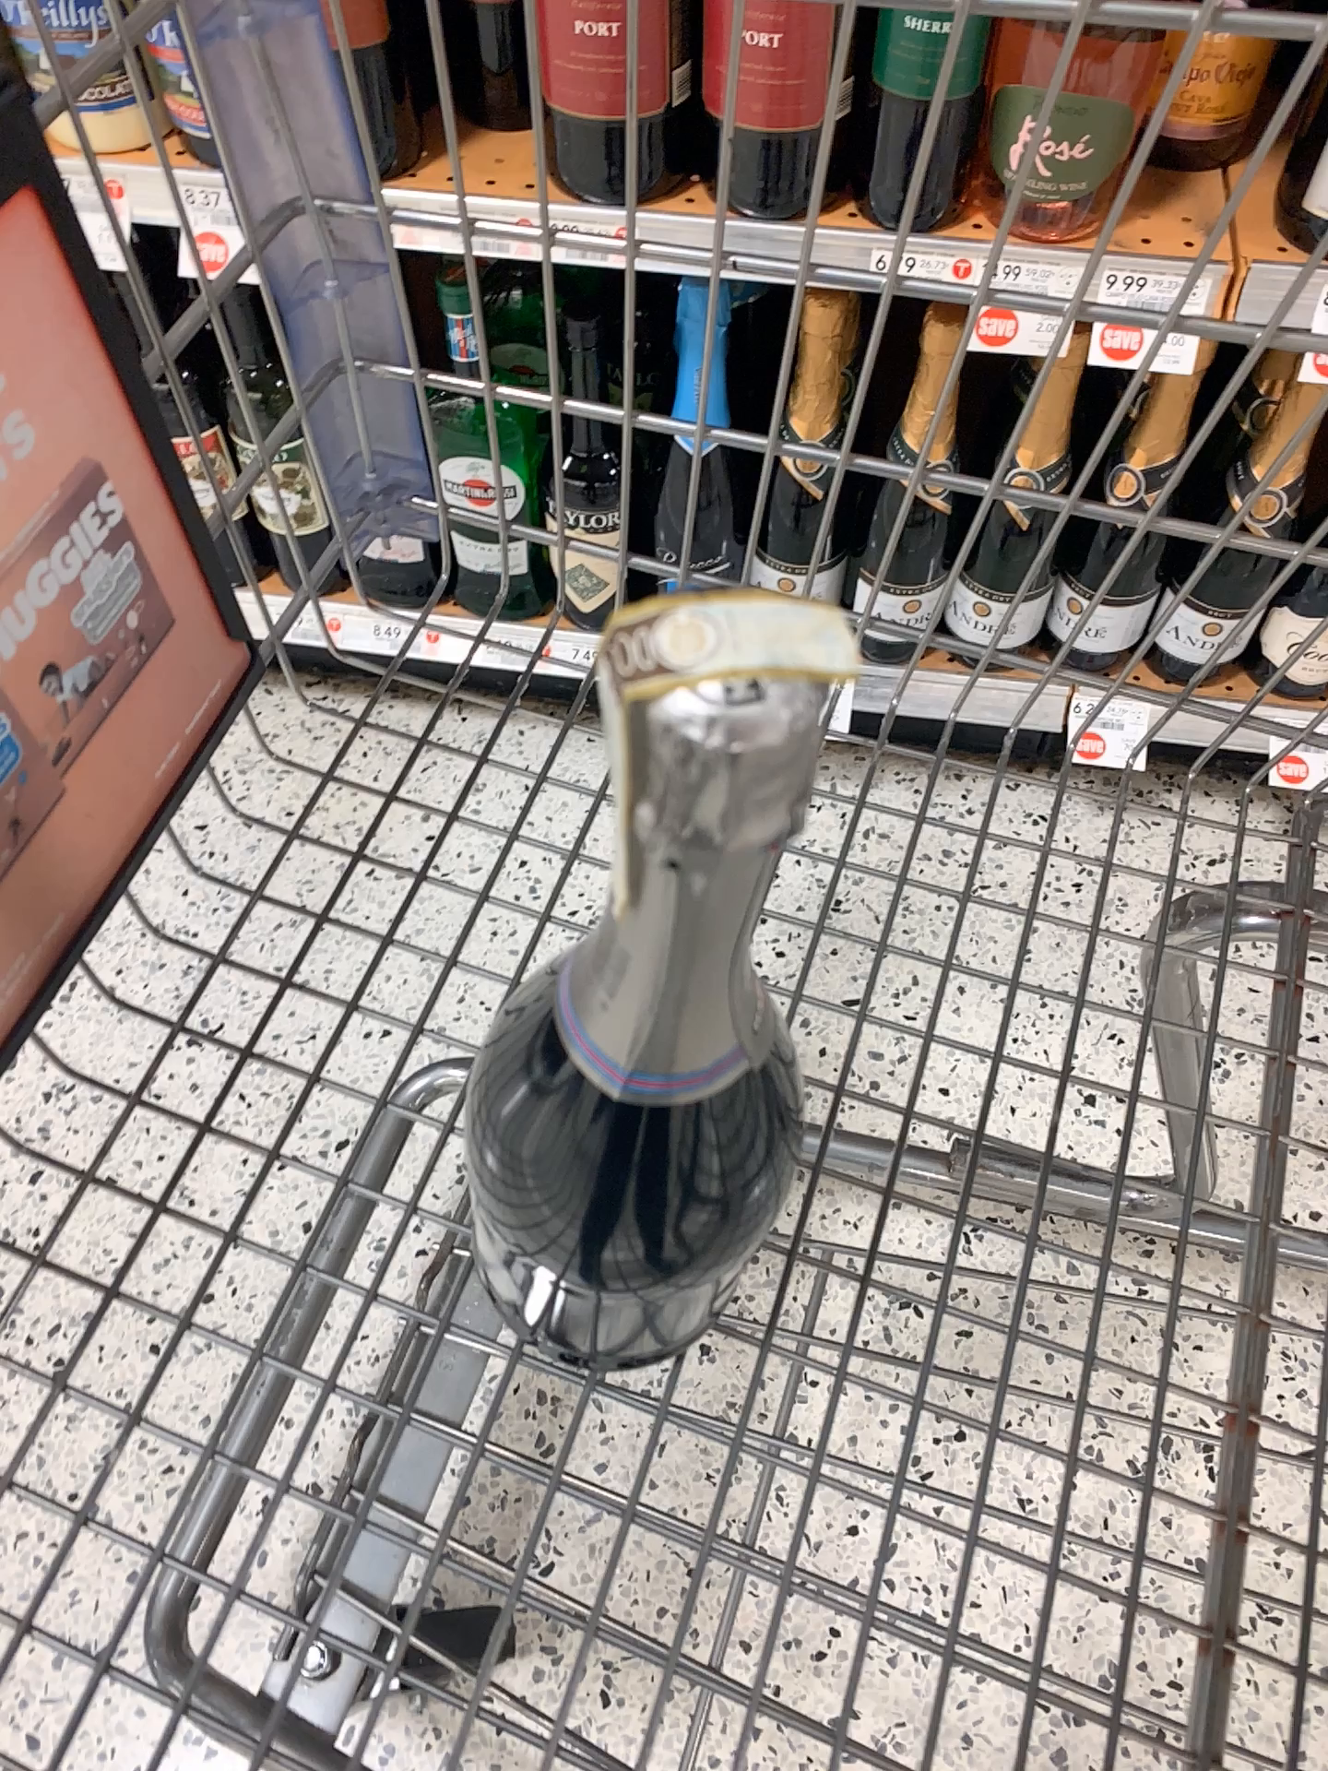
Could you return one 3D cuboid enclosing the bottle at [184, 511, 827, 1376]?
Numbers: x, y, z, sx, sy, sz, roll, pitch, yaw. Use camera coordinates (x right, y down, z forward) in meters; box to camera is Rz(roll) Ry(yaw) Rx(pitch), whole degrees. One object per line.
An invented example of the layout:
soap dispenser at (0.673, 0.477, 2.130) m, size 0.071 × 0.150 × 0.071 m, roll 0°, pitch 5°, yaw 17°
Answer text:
bottle at (-0.024, 0.047, 0.394) m, size 0.110 × 0.298 × 0.111 m, roll 0°, pitch 58°, yaw 0°
